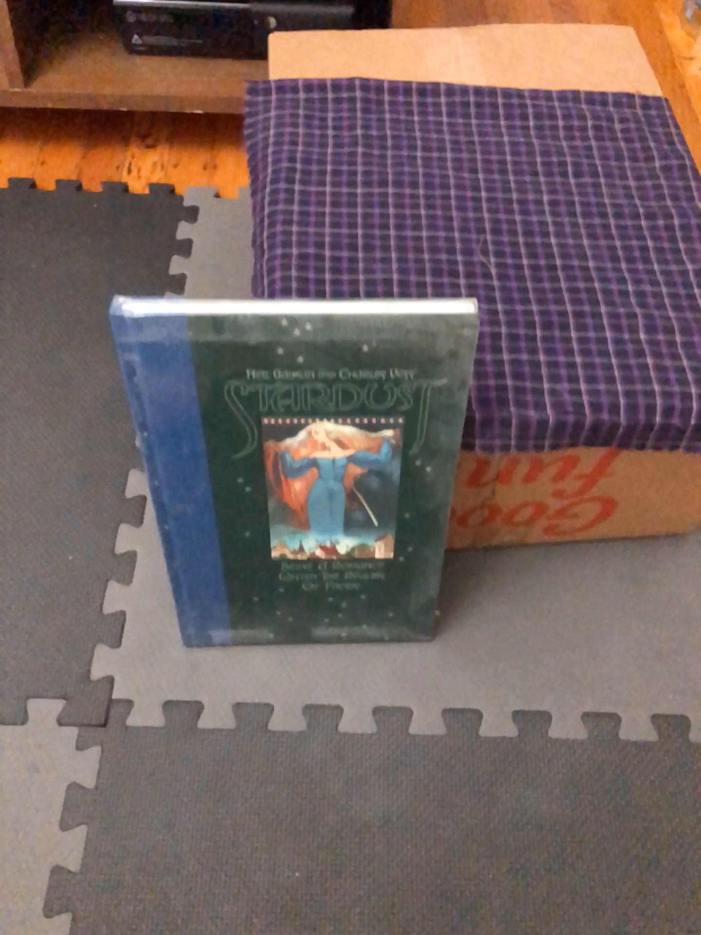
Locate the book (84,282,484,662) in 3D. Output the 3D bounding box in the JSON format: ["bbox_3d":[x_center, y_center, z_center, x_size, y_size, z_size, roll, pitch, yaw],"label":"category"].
[{"bbox_3d":[-0.035,0.028,0.525,0.210,0.328,0.020,-1,43,-1],"label":"book"}]
